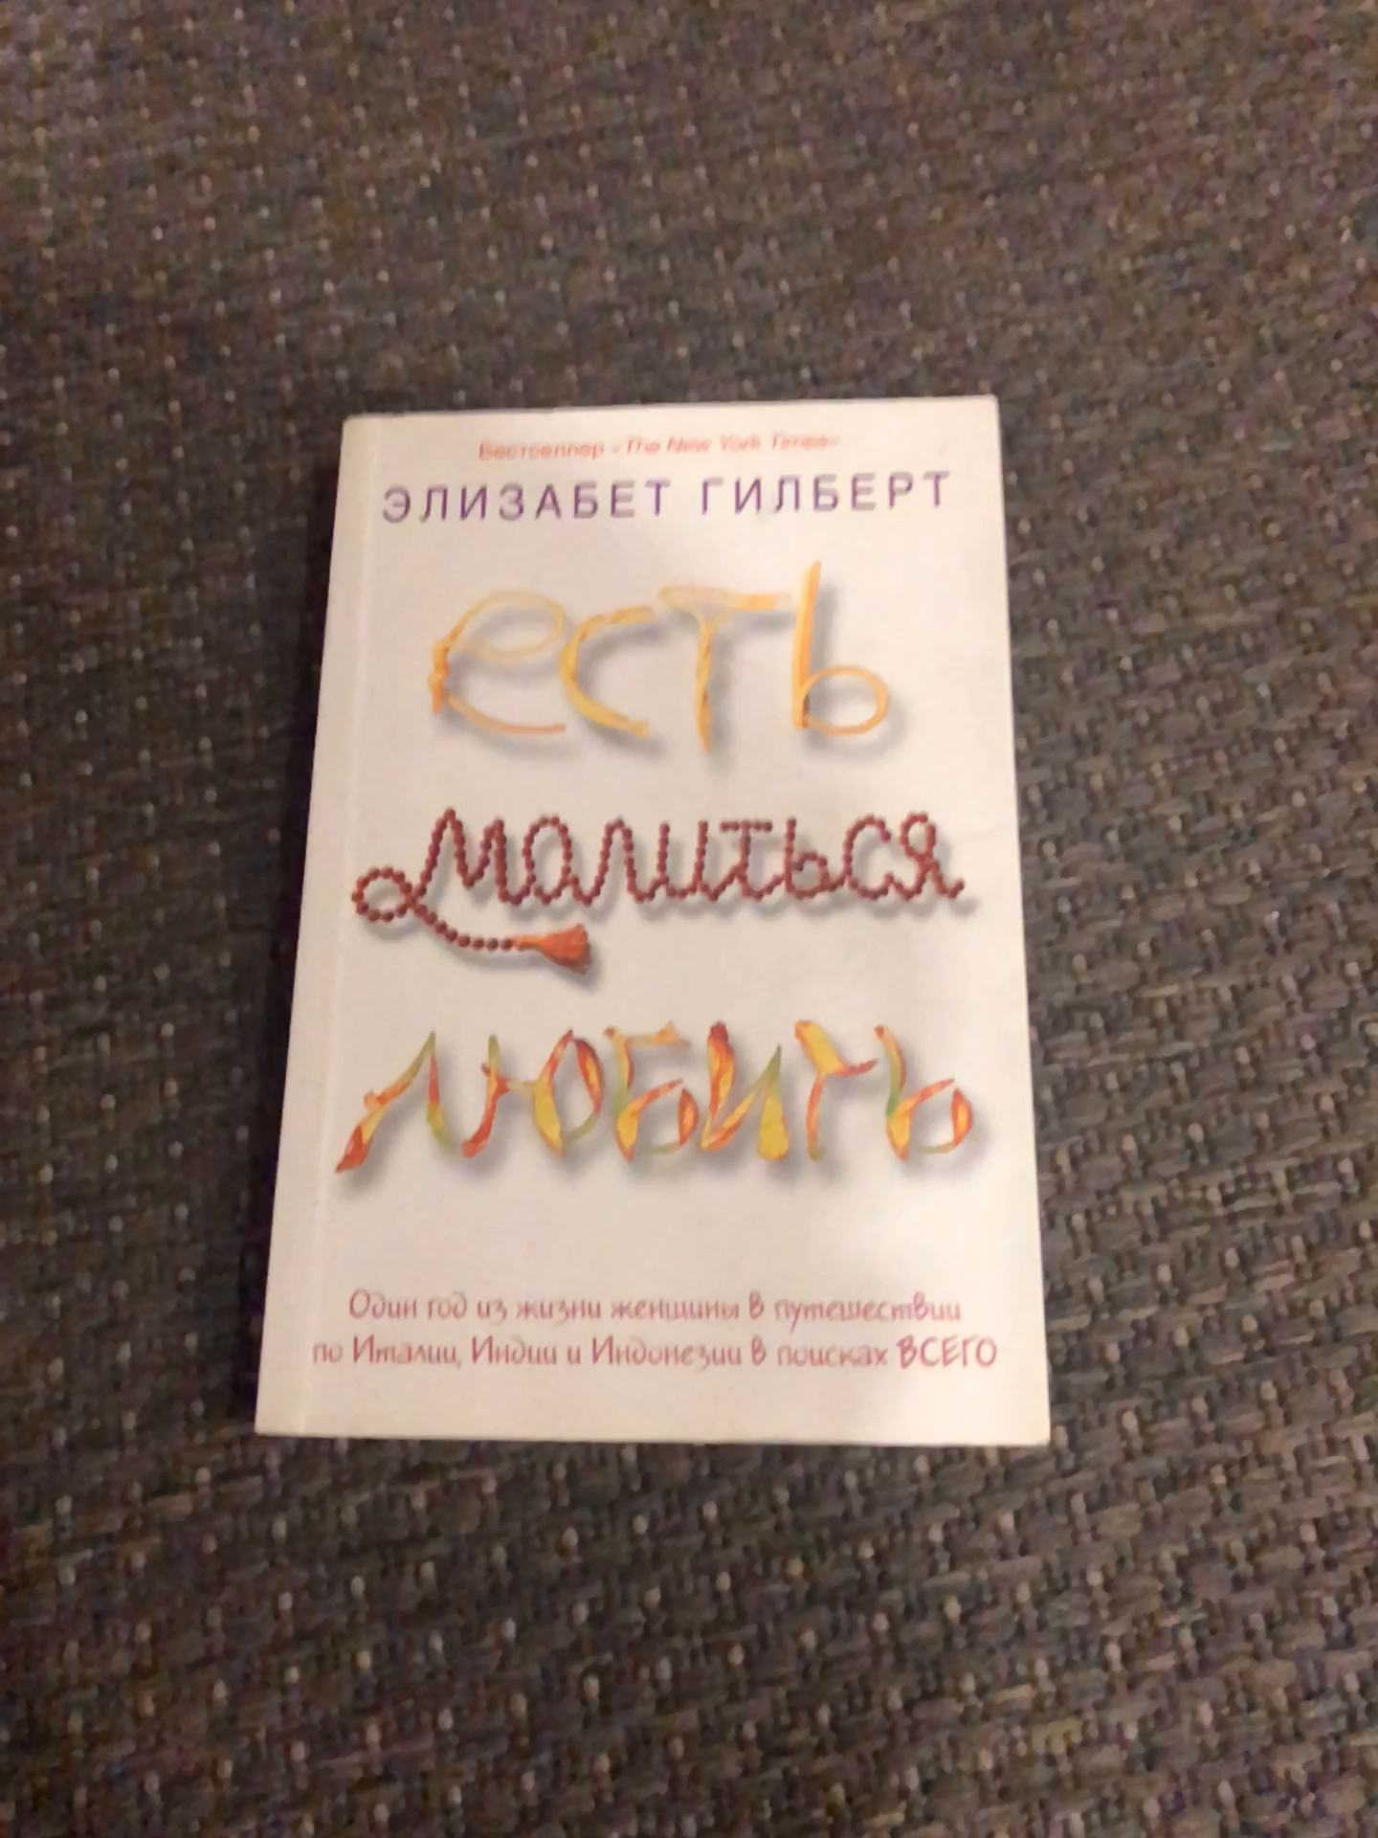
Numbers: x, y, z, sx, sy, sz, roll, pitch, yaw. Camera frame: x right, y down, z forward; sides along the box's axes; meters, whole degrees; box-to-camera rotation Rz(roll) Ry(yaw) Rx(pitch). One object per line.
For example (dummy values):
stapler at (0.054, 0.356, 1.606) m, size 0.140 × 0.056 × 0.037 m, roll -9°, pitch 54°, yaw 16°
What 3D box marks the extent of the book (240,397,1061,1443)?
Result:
book at (-0.006, -0.004, 0.316) m, size 0.142 × 0.041 × 0.210 m, roll 0°, pitch 73°, yaw 2°
